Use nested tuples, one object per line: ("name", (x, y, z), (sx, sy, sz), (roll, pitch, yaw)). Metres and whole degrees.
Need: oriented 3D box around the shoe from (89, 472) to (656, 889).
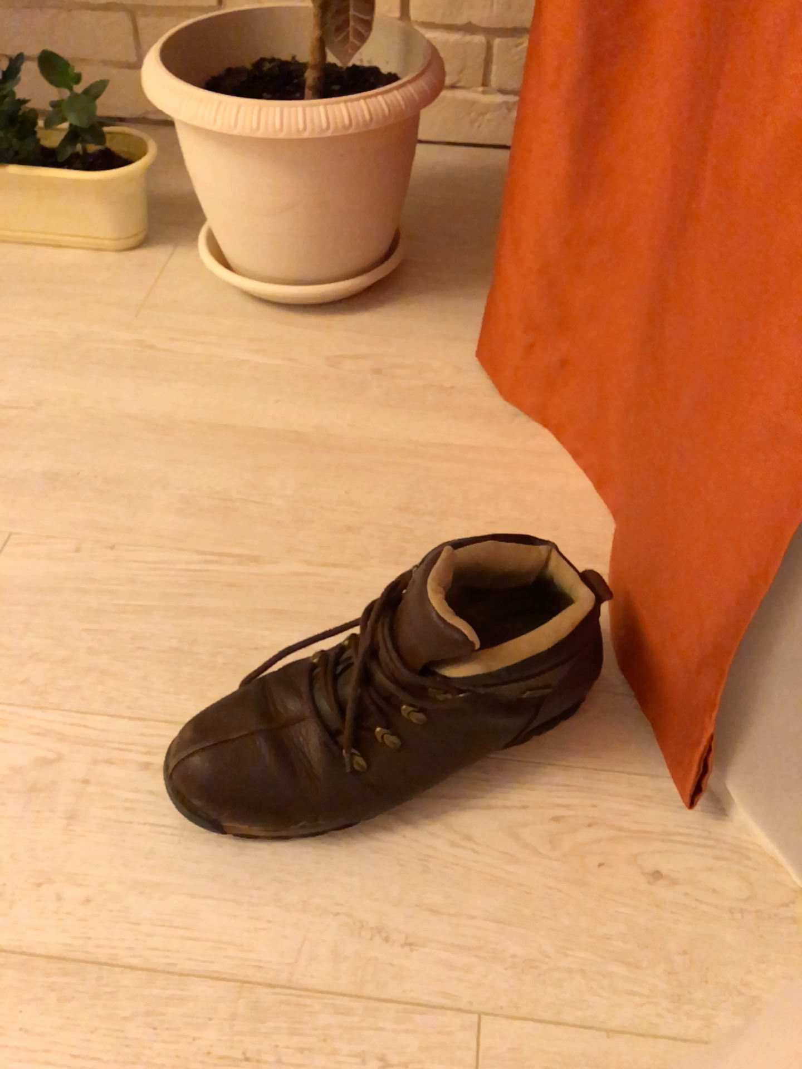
("shoe", (-0.017, 0.088, 0.555), (0.300, 0.159, 0.111), (-14, 49, -15))
